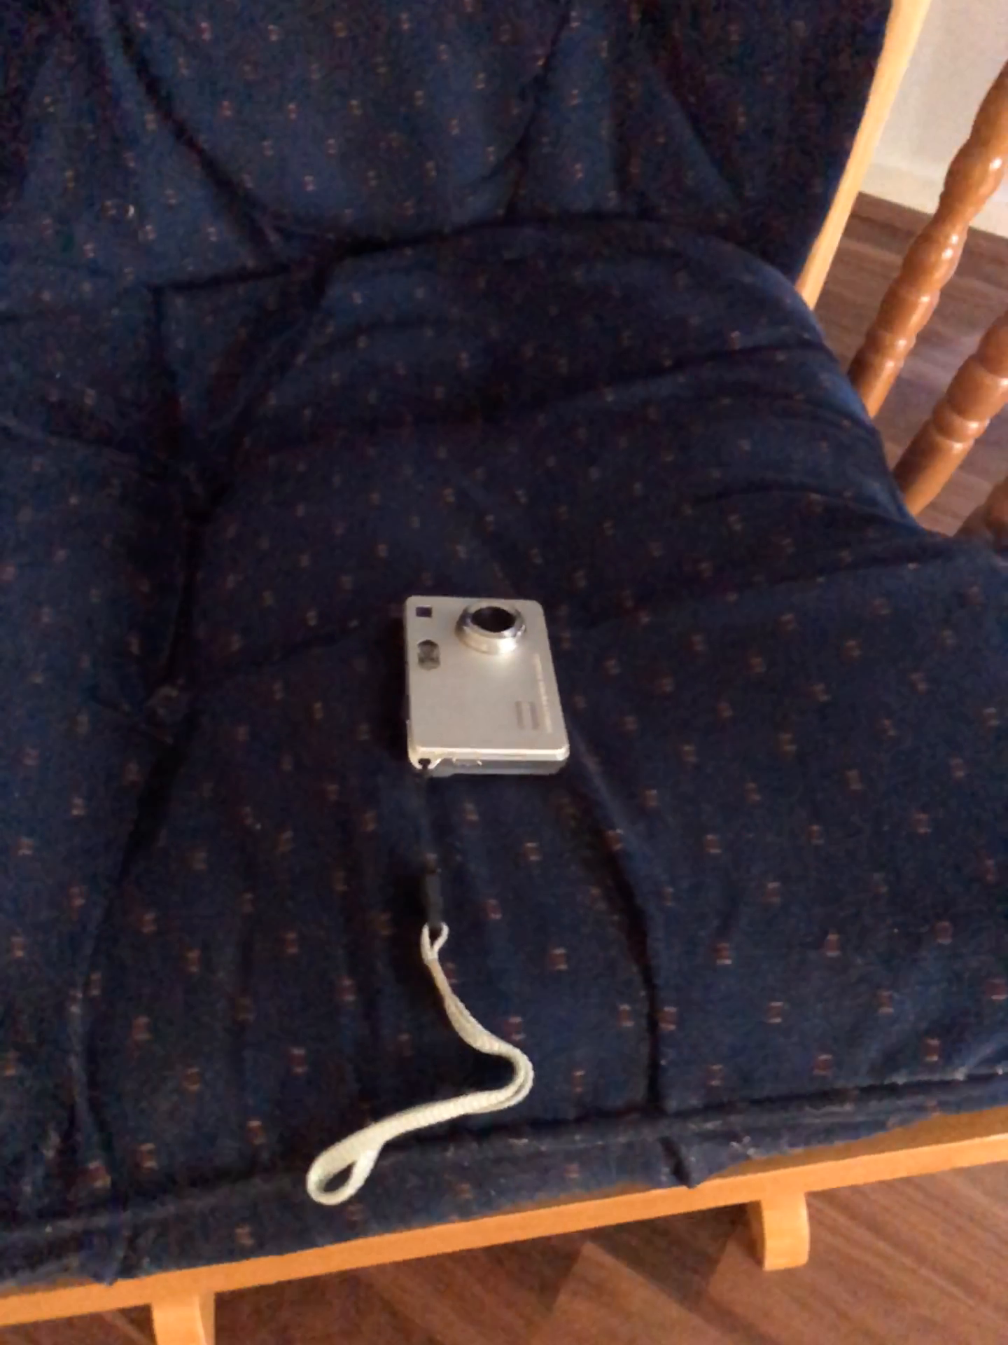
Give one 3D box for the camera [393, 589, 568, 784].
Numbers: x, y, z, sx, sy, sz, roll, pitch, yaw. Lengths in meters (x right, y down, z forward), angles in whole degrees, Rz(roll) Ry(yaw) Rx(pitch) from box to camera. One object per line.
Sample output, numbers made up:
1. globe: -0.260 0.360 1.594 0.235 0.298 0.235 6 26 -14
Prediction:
1. camera: -0.011 0.003 0.418 0.058 0.018 0.085 1 44 -8
